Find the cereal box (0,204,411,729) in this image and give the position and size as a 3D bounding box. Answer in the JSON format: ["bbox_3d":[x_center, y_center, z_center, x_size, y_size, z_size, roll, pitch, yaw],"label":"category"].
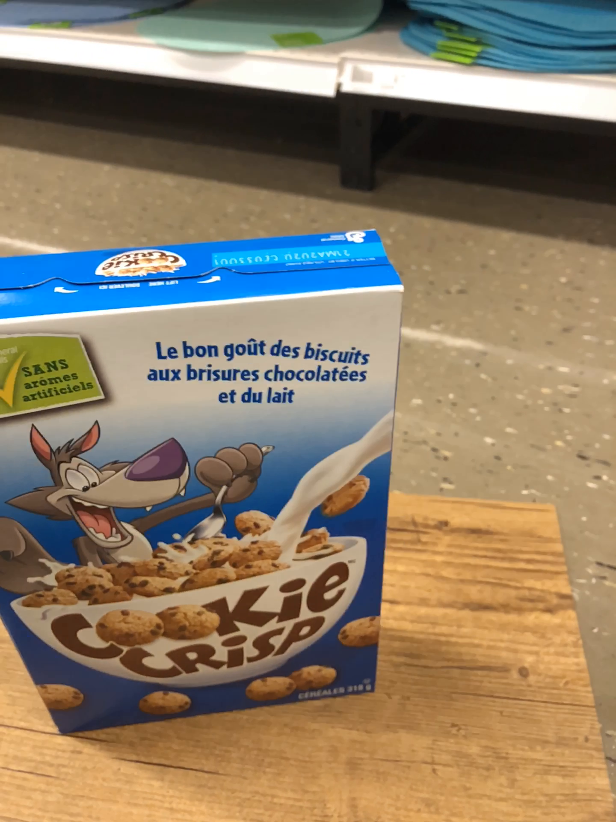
[{"bbox_3d":[-0.064,0.047,0.341,0.200,0.269,0.060,-6,40,-5],"label":"cereal box"}]
